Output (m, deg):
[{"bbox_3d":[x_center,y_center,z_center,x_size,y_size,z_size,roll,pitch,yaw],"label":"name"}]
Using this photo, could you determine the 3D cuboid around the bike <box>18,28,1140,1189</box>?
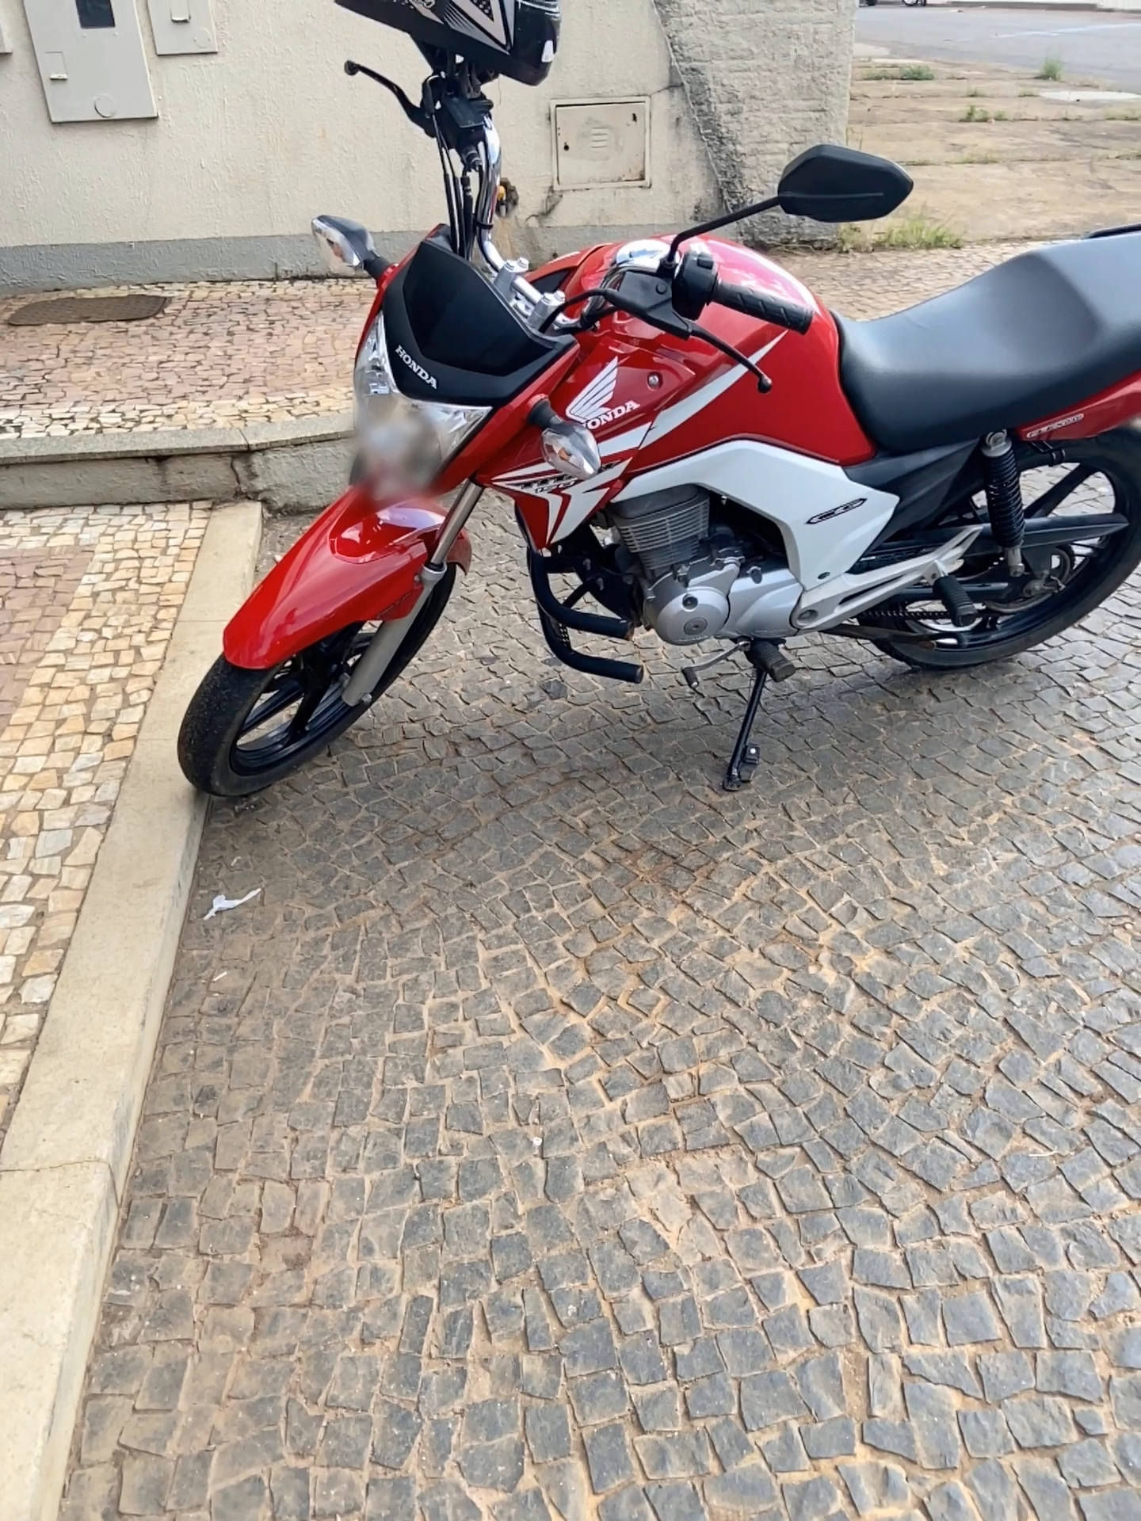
[{"bbox_3d":[0.367,-0.417,2.017,2.073,1.382,0.813,-16,35,-21],"label":"bike"}]
